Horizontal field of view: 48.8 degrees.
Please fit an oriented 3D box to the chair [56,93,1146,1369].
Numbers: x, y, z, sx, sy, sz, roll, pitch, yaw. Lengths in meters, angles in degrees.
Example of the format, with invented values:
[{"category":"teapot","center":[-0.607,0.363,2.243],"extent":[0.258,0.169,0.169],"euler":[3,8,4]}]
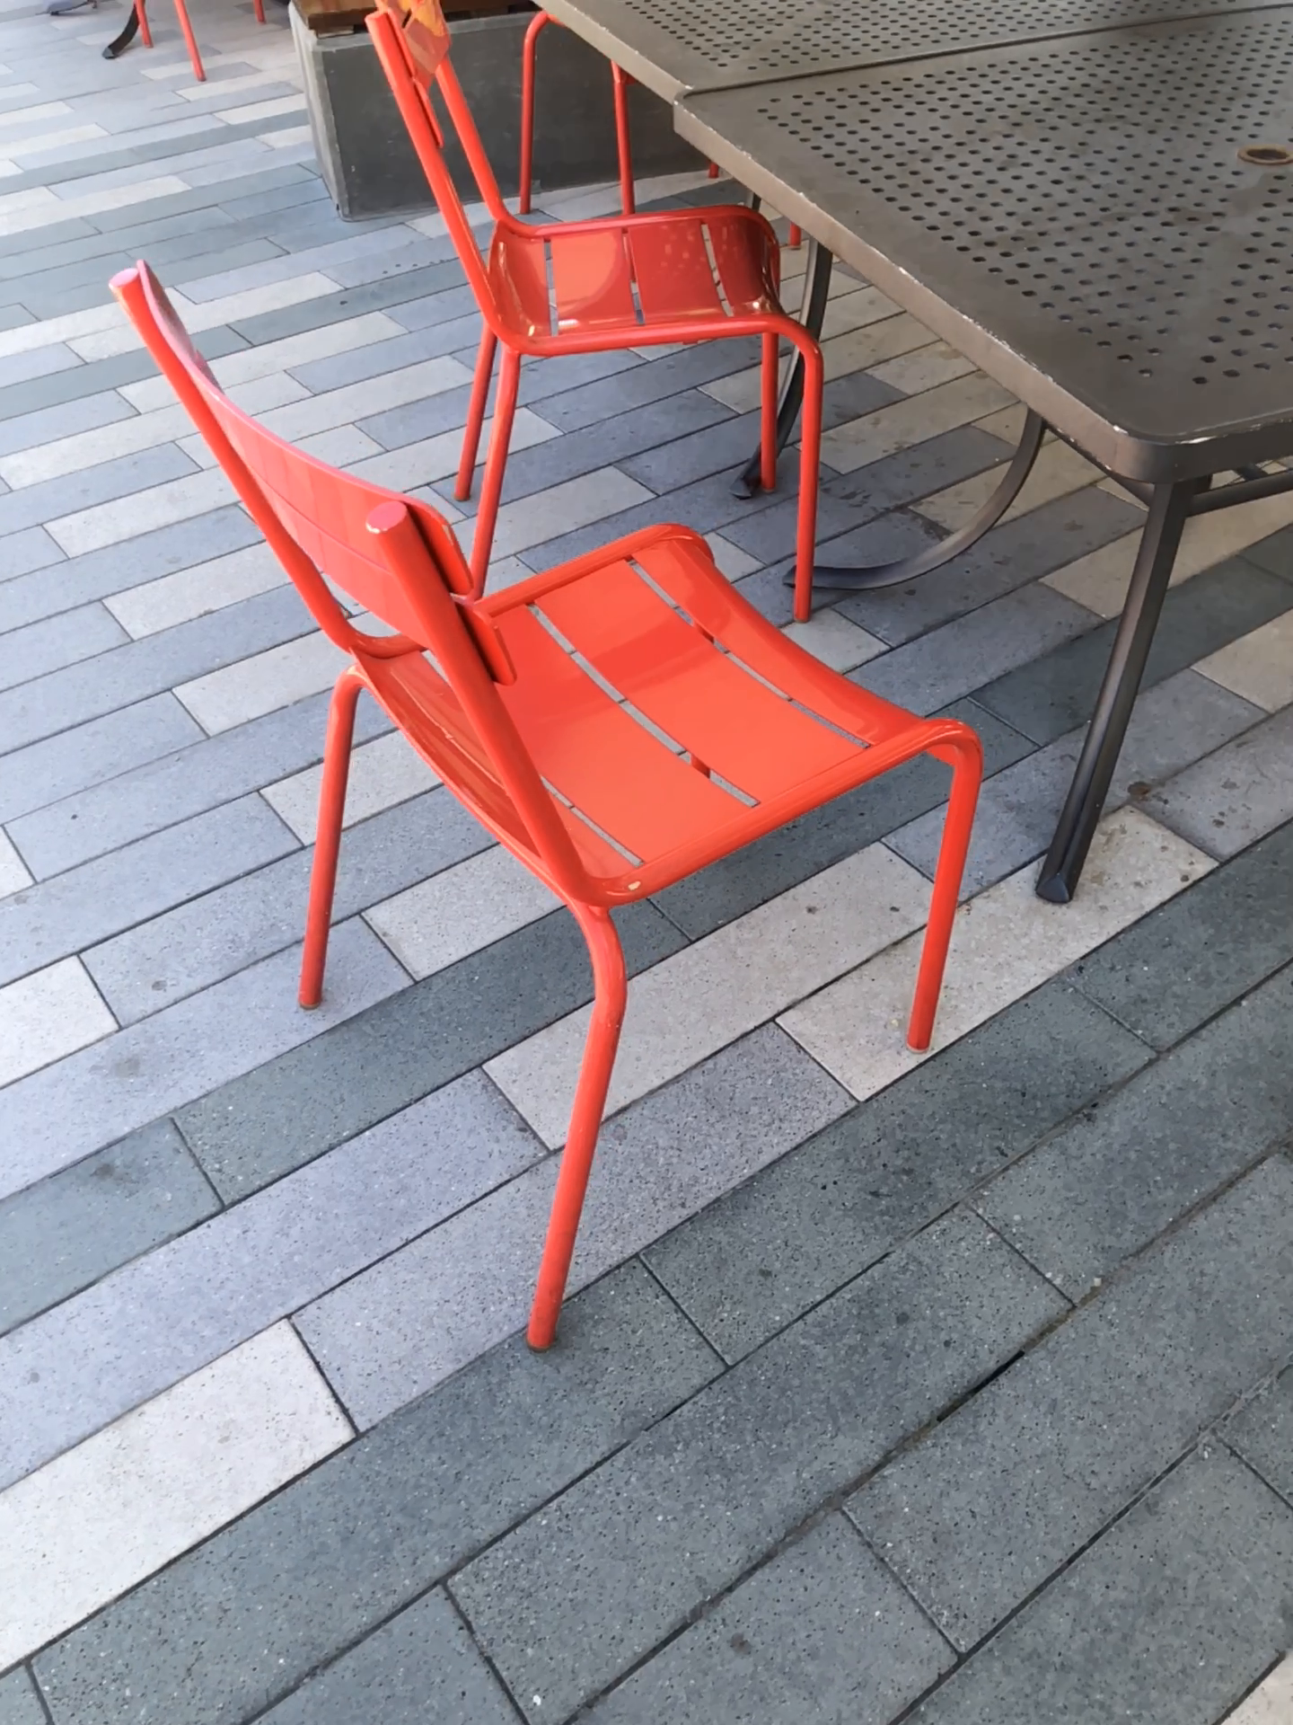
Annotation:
[{"category":"chair","center":[-0.040,-0.132,1.445],"extent":[0.630,0.955,0.613],"euler":[-27,47,-23]}]
